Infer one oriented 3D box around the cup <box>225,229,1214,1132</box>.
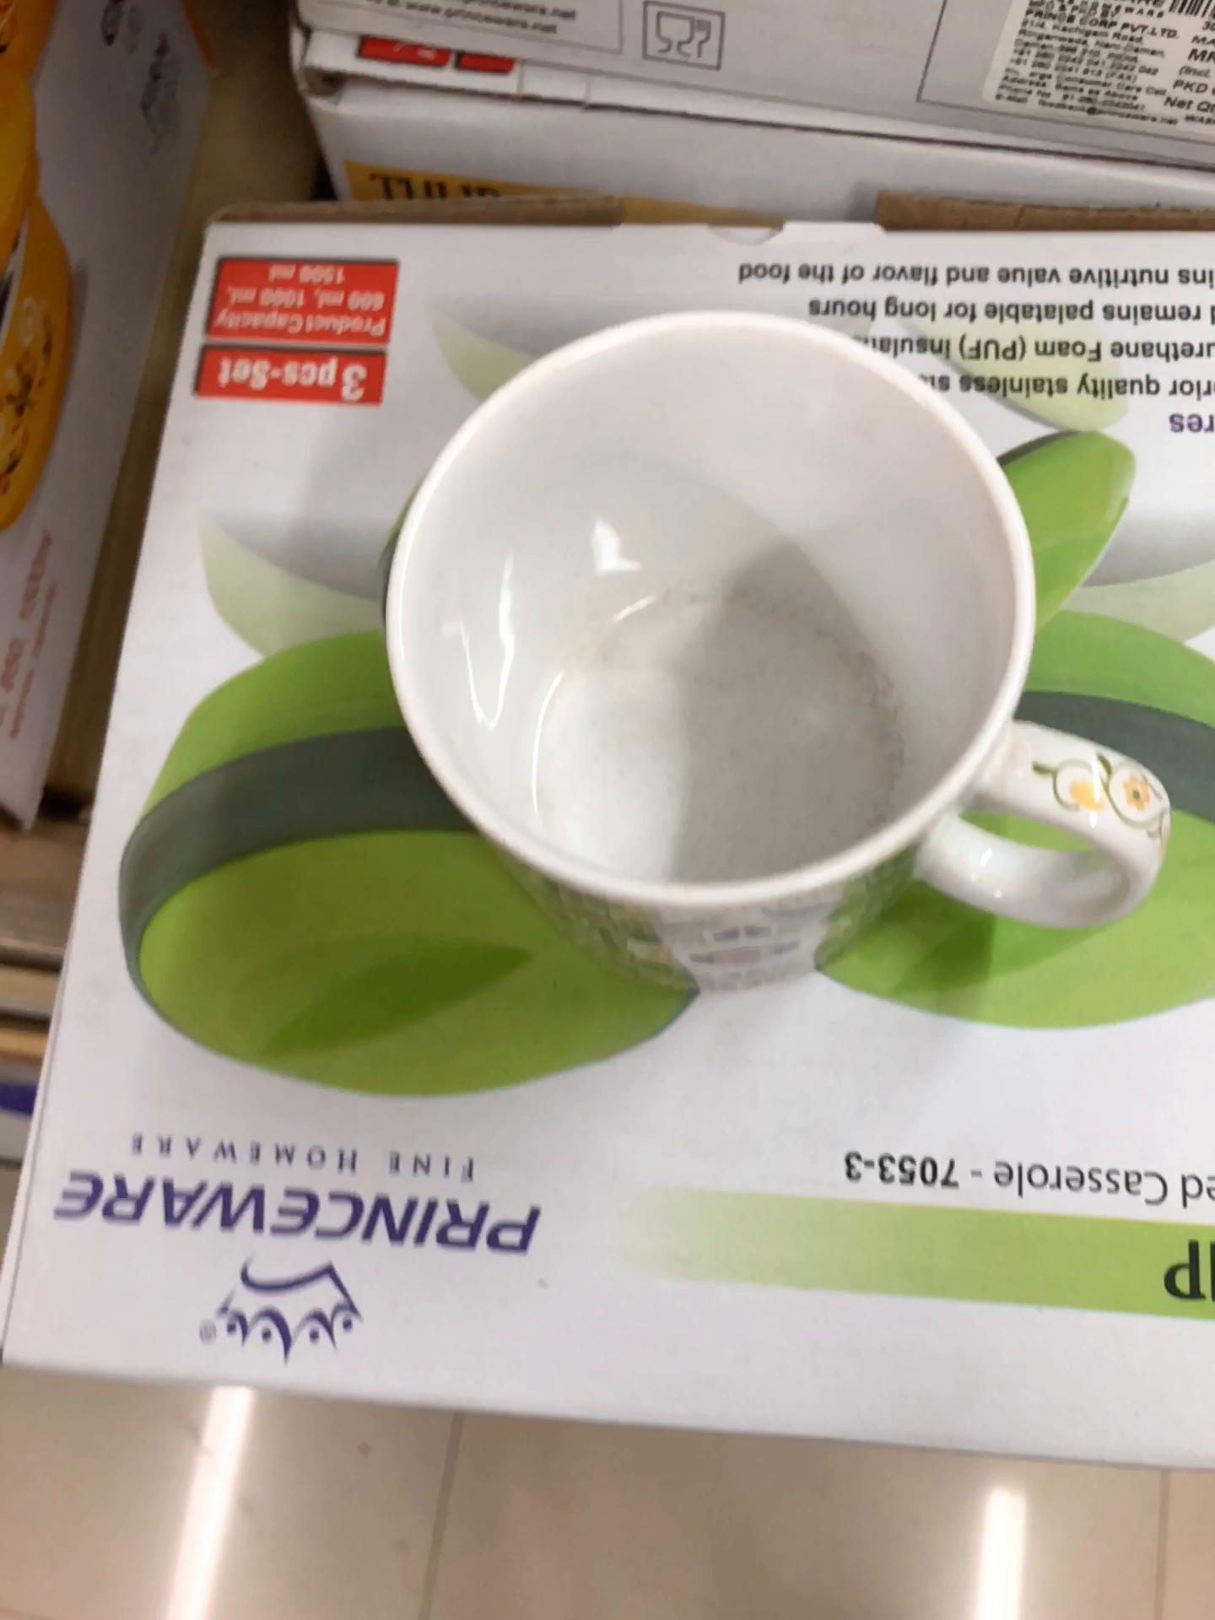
[{"bbox_3d":[0.024,-0.012,0.190,0.110,0.080,0.070,19,74,10],"label":"cup"}]
